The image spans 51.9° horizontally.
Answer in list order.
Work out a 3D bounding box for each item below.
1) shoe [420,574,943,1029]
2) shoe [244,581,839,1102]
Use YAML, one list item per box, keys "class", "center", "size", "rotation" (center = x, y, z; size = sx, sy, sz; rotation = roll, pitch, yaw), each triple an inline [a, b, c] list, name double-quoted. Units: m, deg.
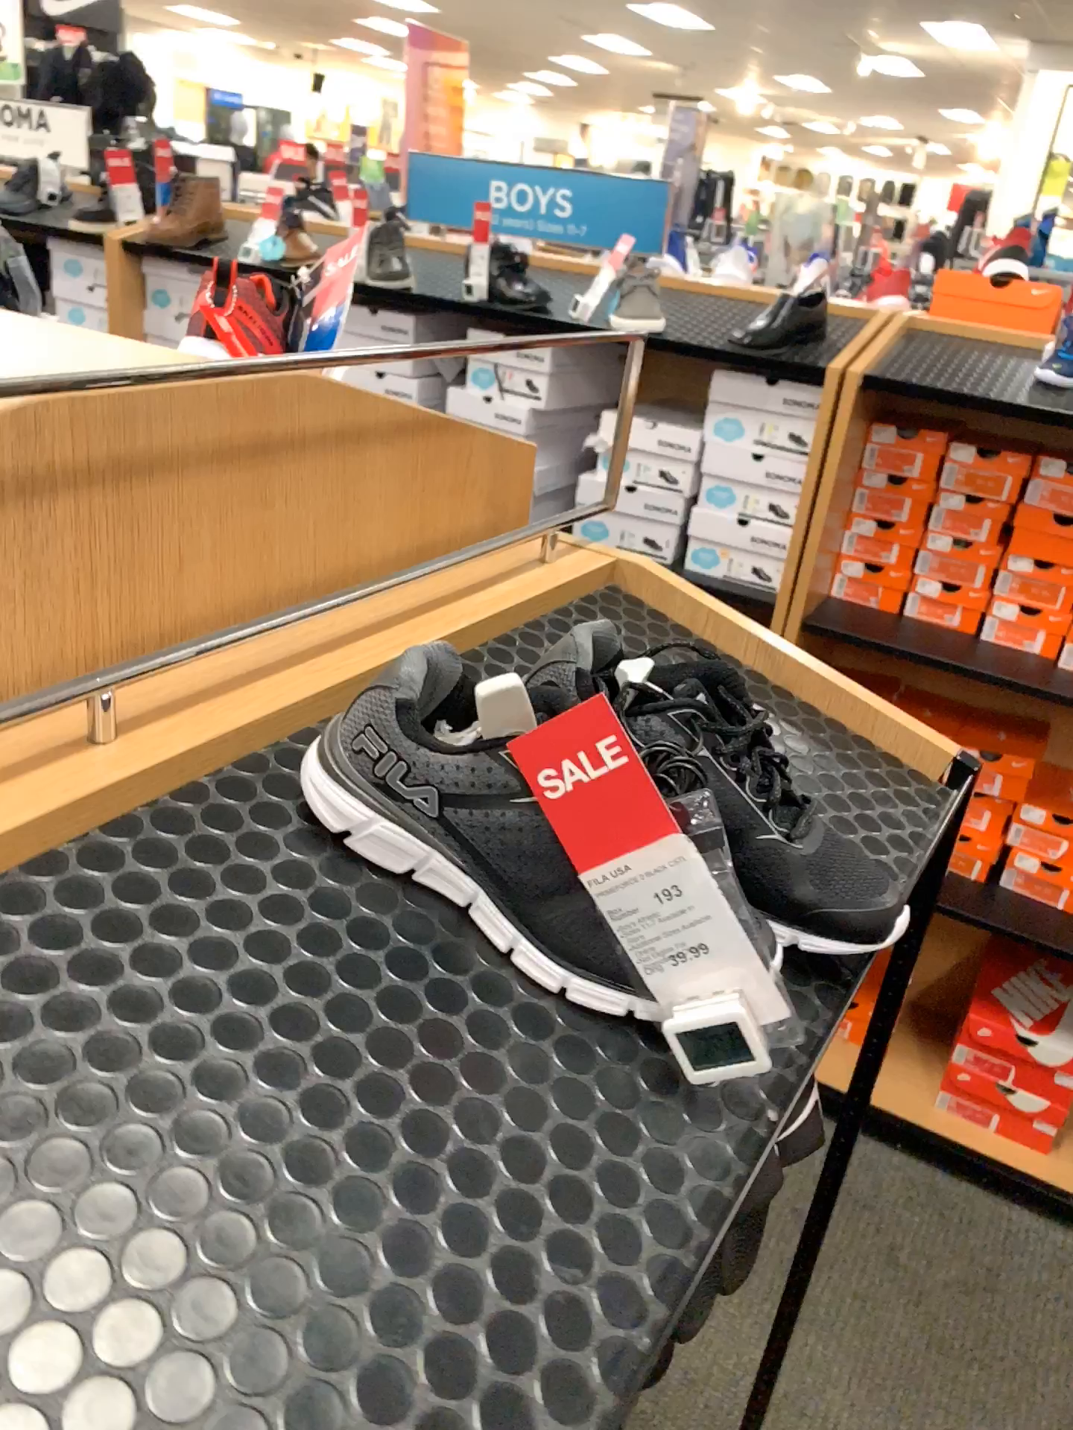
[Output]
- class: "shoe"
  center: [0.075, 0.040, 0.590]
  size: [0.244, 0.089, 0.101]
  rotation: [32, 40, 9]
- class: "shoe"
  center: [0.004, 0.050, 0.514]
  size: [0.244, 0.090, 0.100]
  rotation: [32, 29, 7]
